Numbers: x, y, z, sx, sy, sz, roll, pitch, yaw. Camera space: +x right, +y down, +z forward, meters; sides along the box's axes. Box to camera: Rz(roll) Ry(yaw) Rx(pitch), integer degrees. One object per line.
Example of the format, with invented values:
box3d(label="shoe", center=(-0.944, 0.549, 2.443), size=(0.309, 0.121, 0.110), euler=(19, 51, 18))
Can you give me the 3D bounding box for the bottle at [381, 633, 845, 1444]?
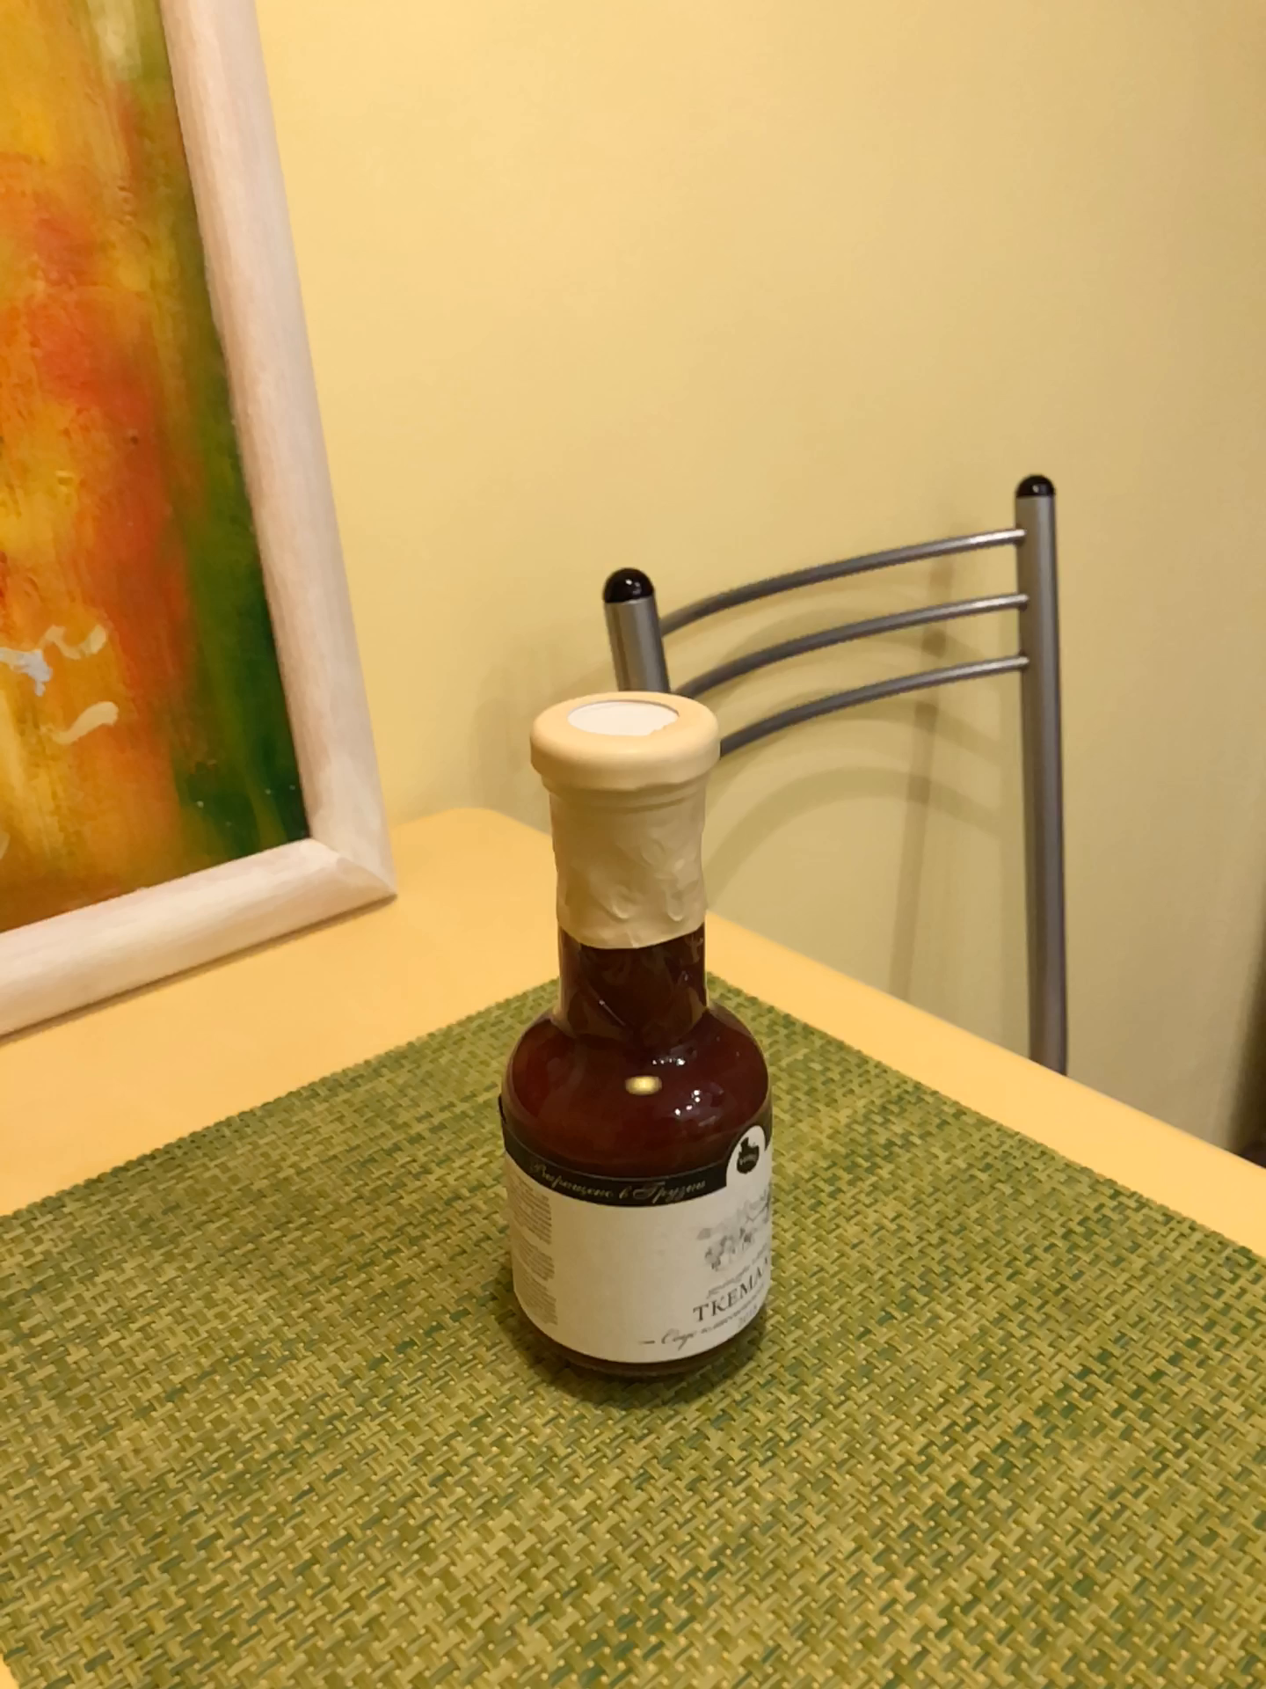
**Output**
box3d(label="bottle", center=(-0.003, 0.041, 0.328), size=(0.070, 0.159, 0.070), euler=(-1, 22, 0))
